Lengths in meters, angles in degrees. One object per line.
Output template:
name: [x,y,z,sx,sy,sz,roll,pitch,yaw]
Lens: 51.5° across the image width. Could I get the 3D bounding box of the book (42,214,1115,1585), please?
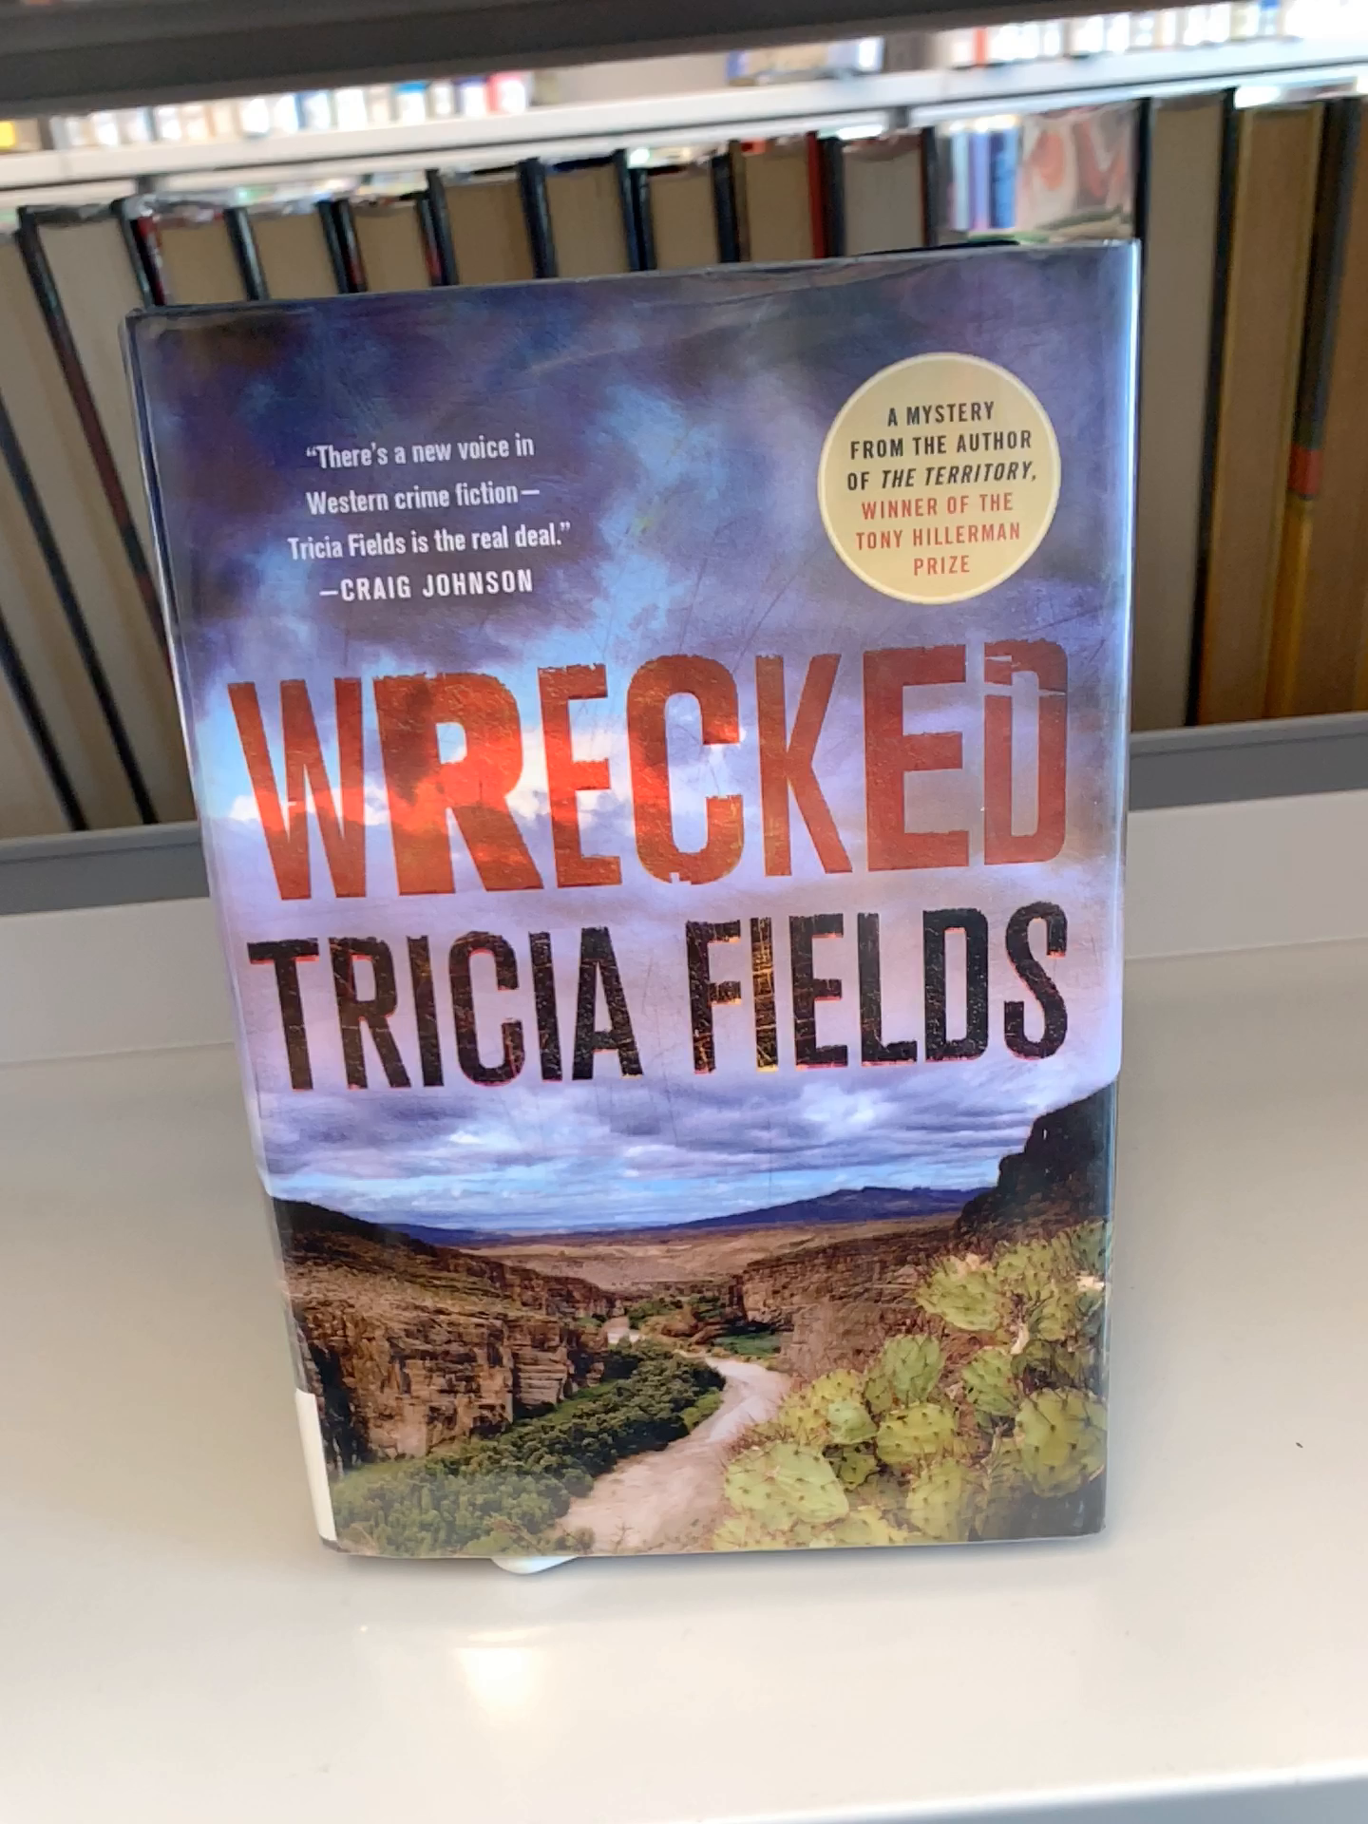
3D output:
book: [-0.007,0.009,0.239,0.146,0.213,0.035,-4,16,3]
